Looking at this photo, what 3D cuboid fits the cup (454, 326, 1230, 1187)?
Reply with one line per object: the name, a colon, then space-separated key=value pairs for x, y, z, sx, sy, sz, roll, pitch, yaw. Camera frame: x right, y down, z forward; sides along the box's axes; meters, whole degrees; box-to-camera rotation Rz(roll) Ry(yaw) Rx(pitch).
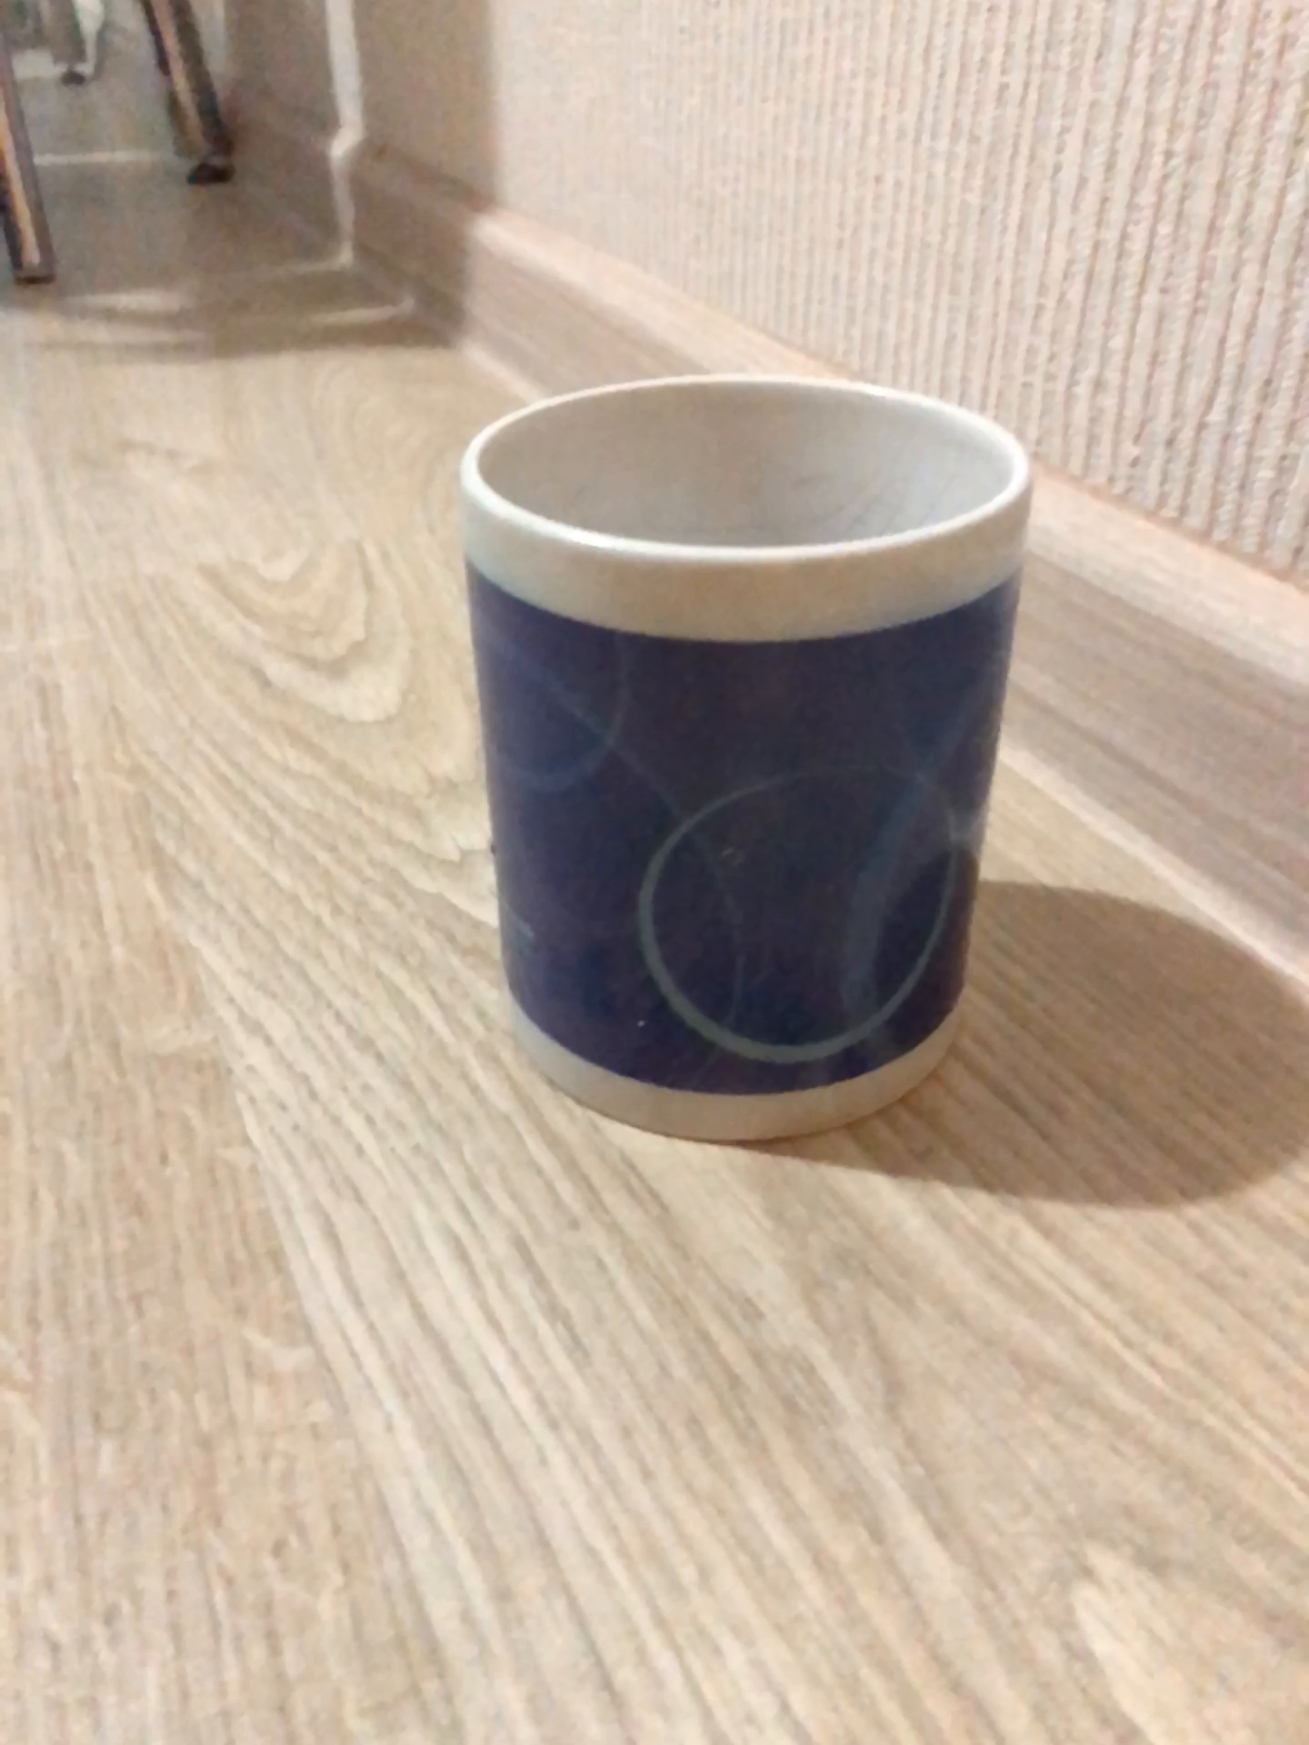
cup: x=0.017 y=-0.030 z=0.256 sx=0.093 sy=0.099 sz=0.123 roll=-4 pitch=33 yaw=-8
